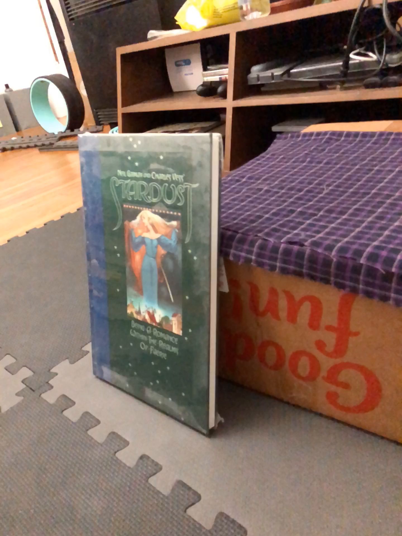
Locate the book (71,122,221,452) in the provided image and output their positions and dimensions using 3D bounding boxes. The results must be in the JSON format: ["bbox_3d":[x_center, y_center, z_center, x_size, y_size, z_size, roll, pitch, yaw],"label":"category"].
[{"bbox_3d":[-0.066,0.014,0.497,0.210,0.329,0.020,12,18,40],"label":"book"}]
